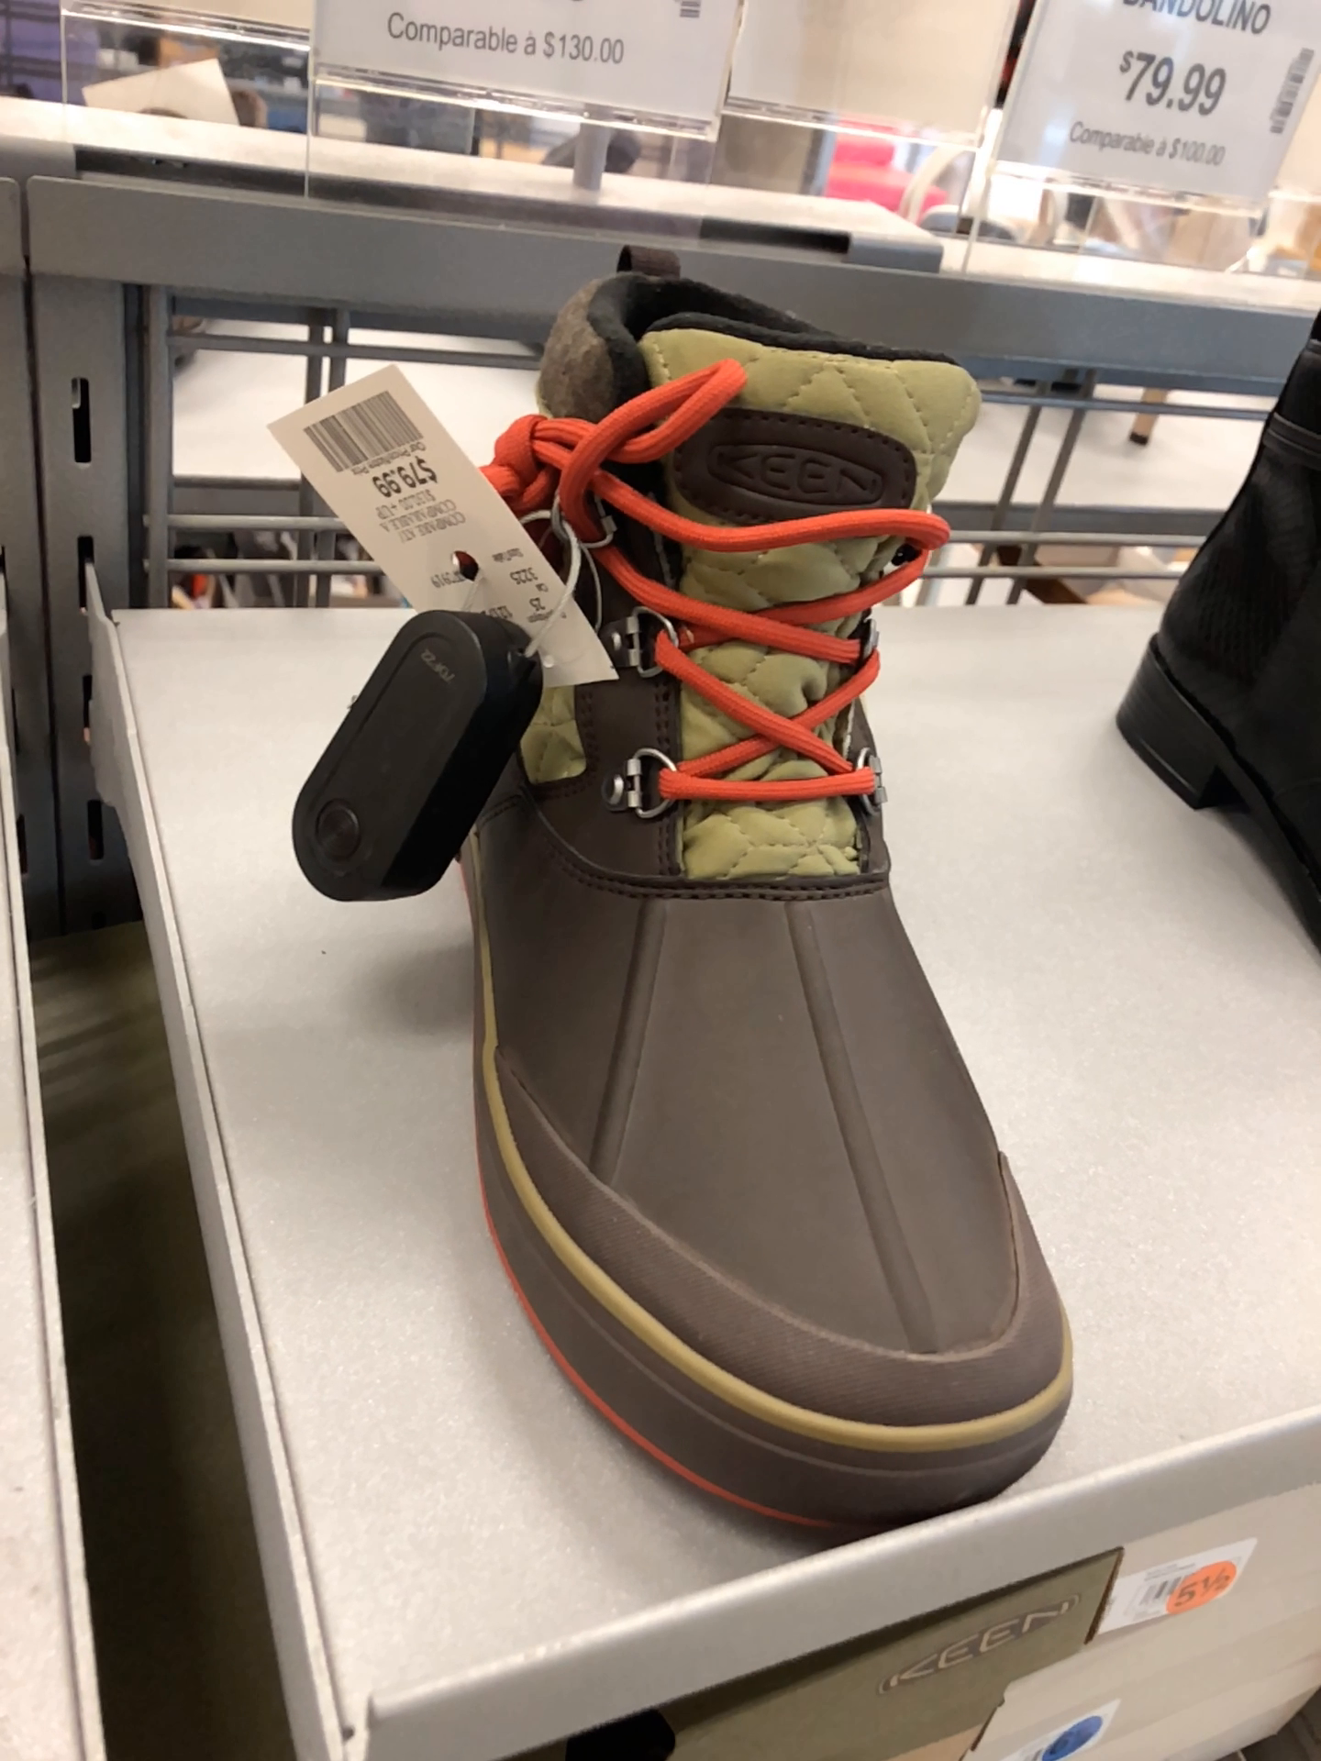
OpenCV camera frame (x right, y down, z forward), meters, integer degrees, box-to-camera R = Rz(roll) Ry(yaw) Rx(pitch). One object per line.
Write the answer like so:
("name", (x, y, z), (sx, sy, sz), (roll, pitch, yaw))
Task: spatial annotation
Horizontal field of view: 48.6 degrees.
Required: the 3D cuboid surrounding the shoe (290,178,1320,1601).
("shoe", (0.005, -0.029, 0.297), (0.107, 0.139, 0.262), (-3, 38, -23))
